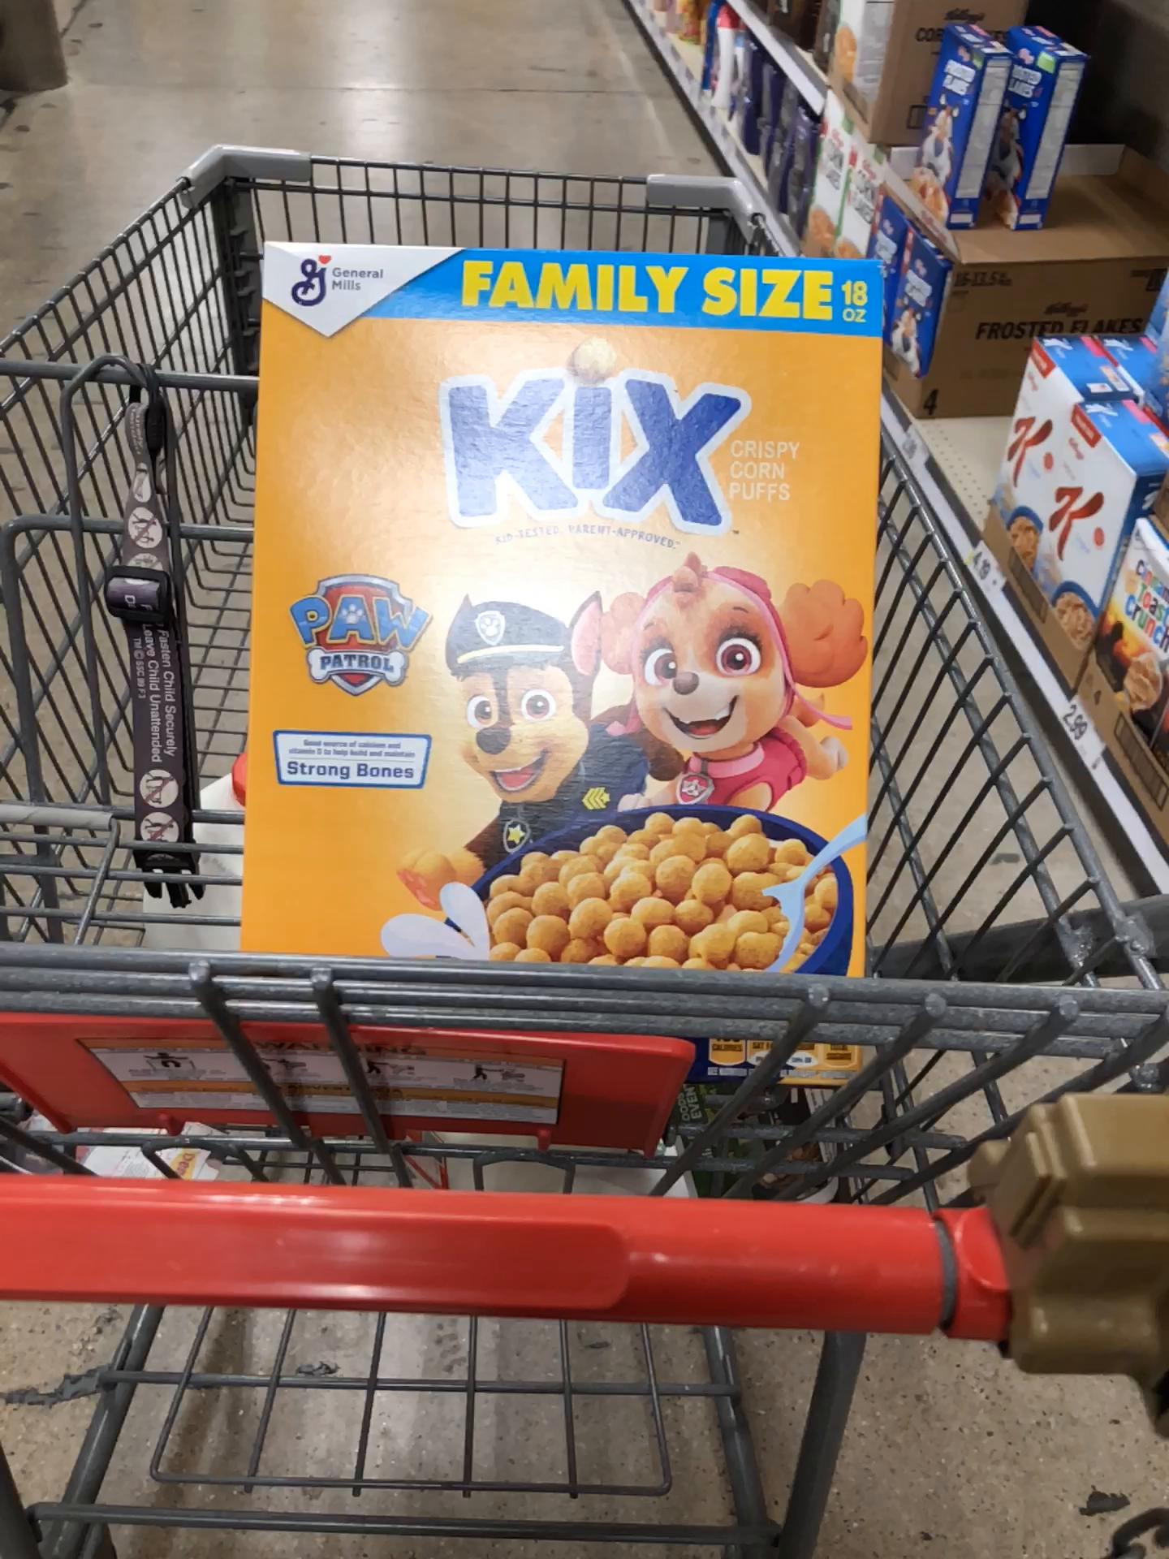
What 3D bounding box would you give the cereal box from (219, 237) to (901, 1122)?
[{"bbox_3d":[-0.009,-0.040,0.537,0.250,0.330,0.090,2,1,3],"label":"cereal box"}]
